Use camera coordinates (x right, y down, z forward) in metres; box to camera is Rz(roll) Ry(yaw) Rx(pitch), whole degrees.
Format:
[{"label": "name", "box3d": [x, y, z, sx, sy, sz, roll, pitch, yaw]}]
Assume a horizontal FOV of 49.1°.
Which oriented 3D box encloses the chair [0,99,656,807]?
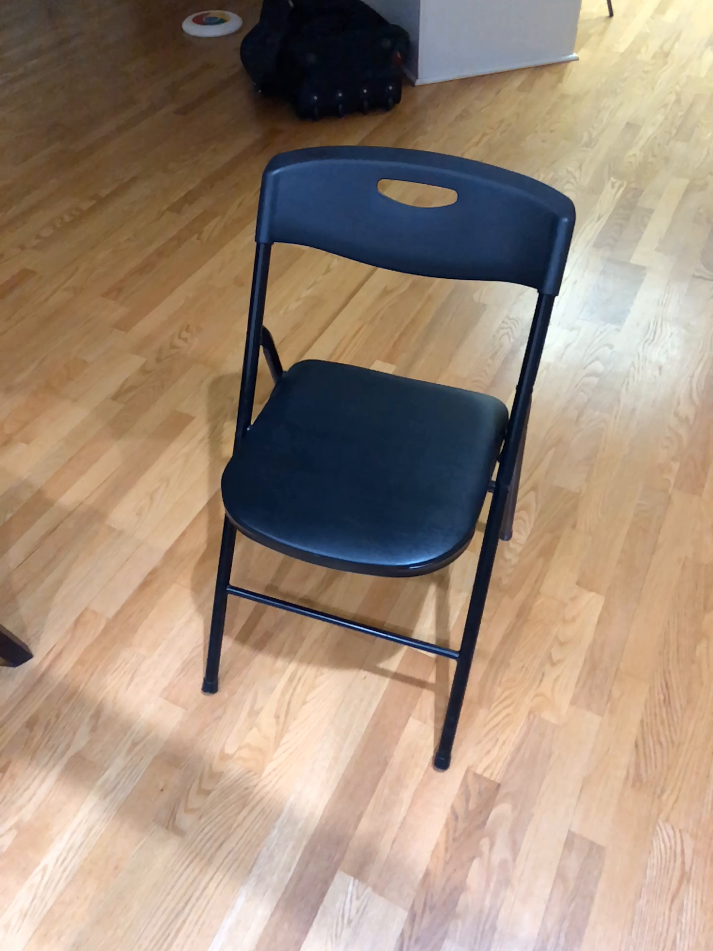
[{"label": "chair", "box3d": [0.021, -0.054, 1.164, 0.610, 0.657, 0.683, 13, 49, 13]}]
